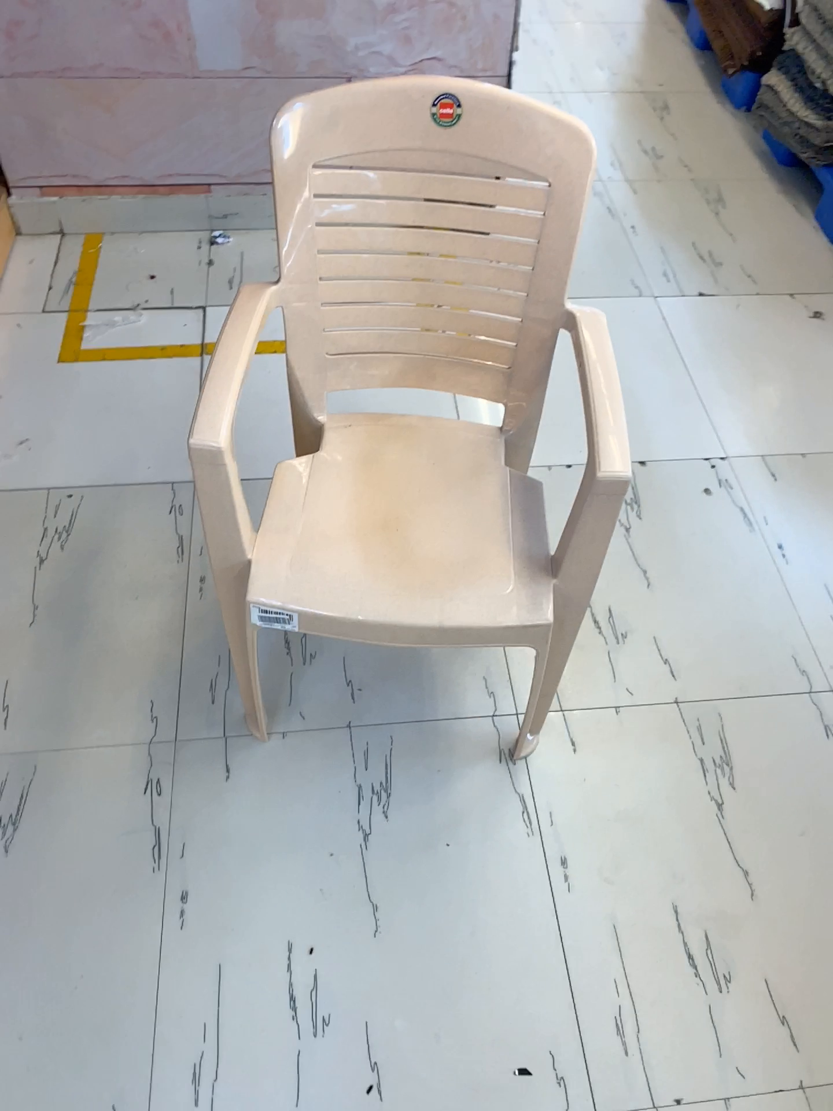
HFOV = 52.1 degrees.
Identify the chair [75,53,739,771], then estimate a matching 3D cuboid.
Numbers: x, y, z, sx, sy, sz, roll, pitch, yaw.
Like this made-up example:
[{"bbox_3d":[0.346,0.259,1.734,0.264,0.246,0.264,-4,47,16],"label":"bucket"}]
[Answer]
[{"bbox_3d":[-0.011,-0.158,1.228,0.570,0.774,0.624,3,52,0],"label":"chair"}]
